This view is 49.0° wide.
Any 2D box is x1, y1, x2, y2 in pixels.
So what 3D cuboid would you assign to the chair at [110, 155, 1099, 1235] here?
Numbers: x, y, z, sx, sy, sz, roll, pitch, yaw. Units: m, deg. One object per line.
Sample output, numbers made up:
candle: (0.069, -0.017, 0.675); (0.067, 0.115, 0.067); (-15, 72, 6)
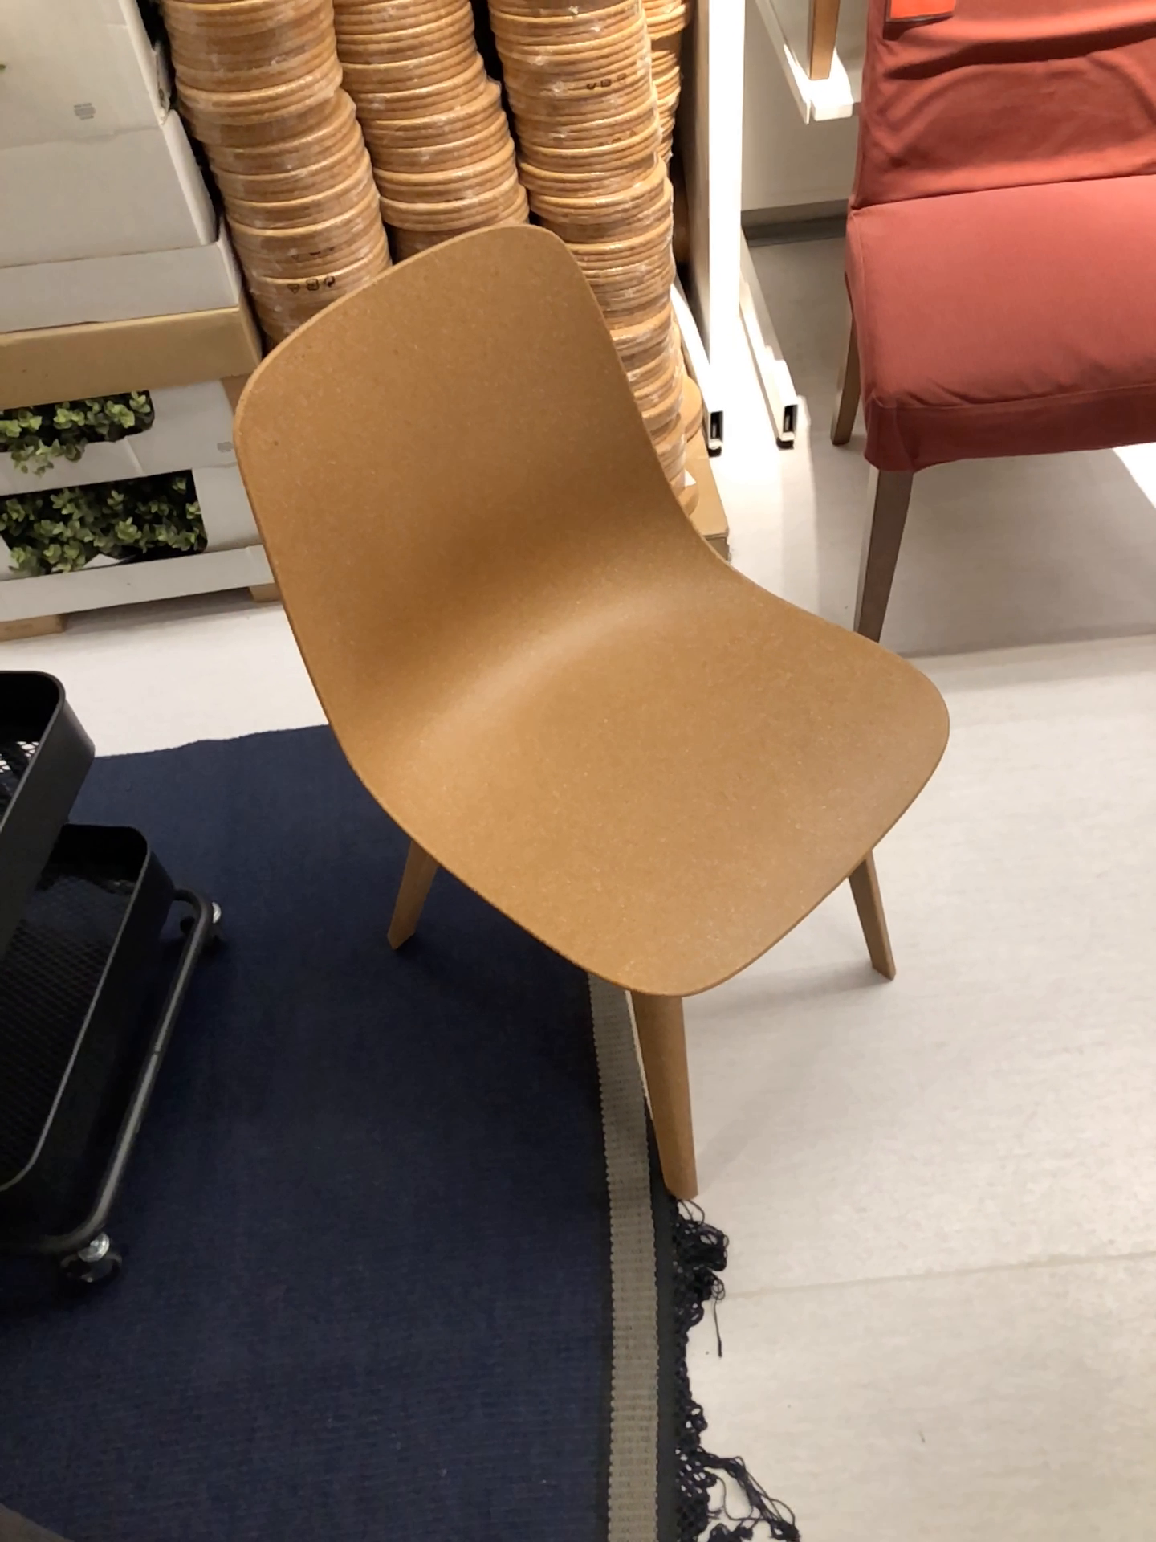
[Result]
chair: (0.031, -0.039, 1.193); (0.552, 0.746, 0.441); (36, 63, 28)
